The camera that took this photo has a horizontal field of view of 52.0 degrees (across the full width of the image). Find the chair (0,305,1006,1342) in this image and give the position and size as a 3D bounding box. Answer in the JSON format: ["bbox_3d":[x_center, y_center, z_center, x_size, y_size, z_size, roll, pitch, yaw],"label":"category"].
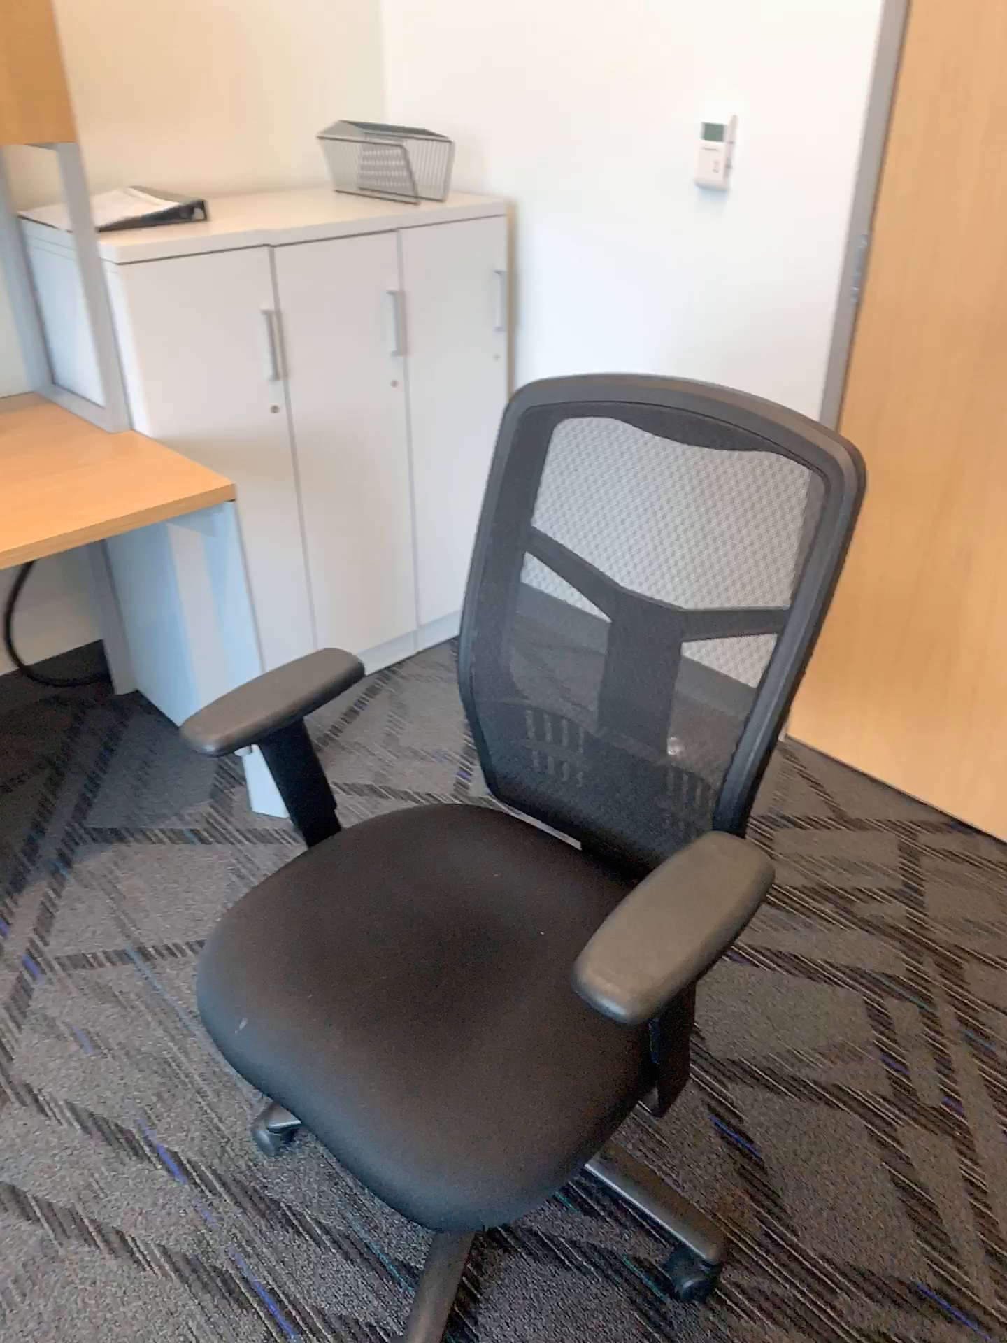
[{"bbox_3d":[0.012,0.195,1.190,0.723,0.992,0.663,-26,39,-37],"label":"chair"}]
